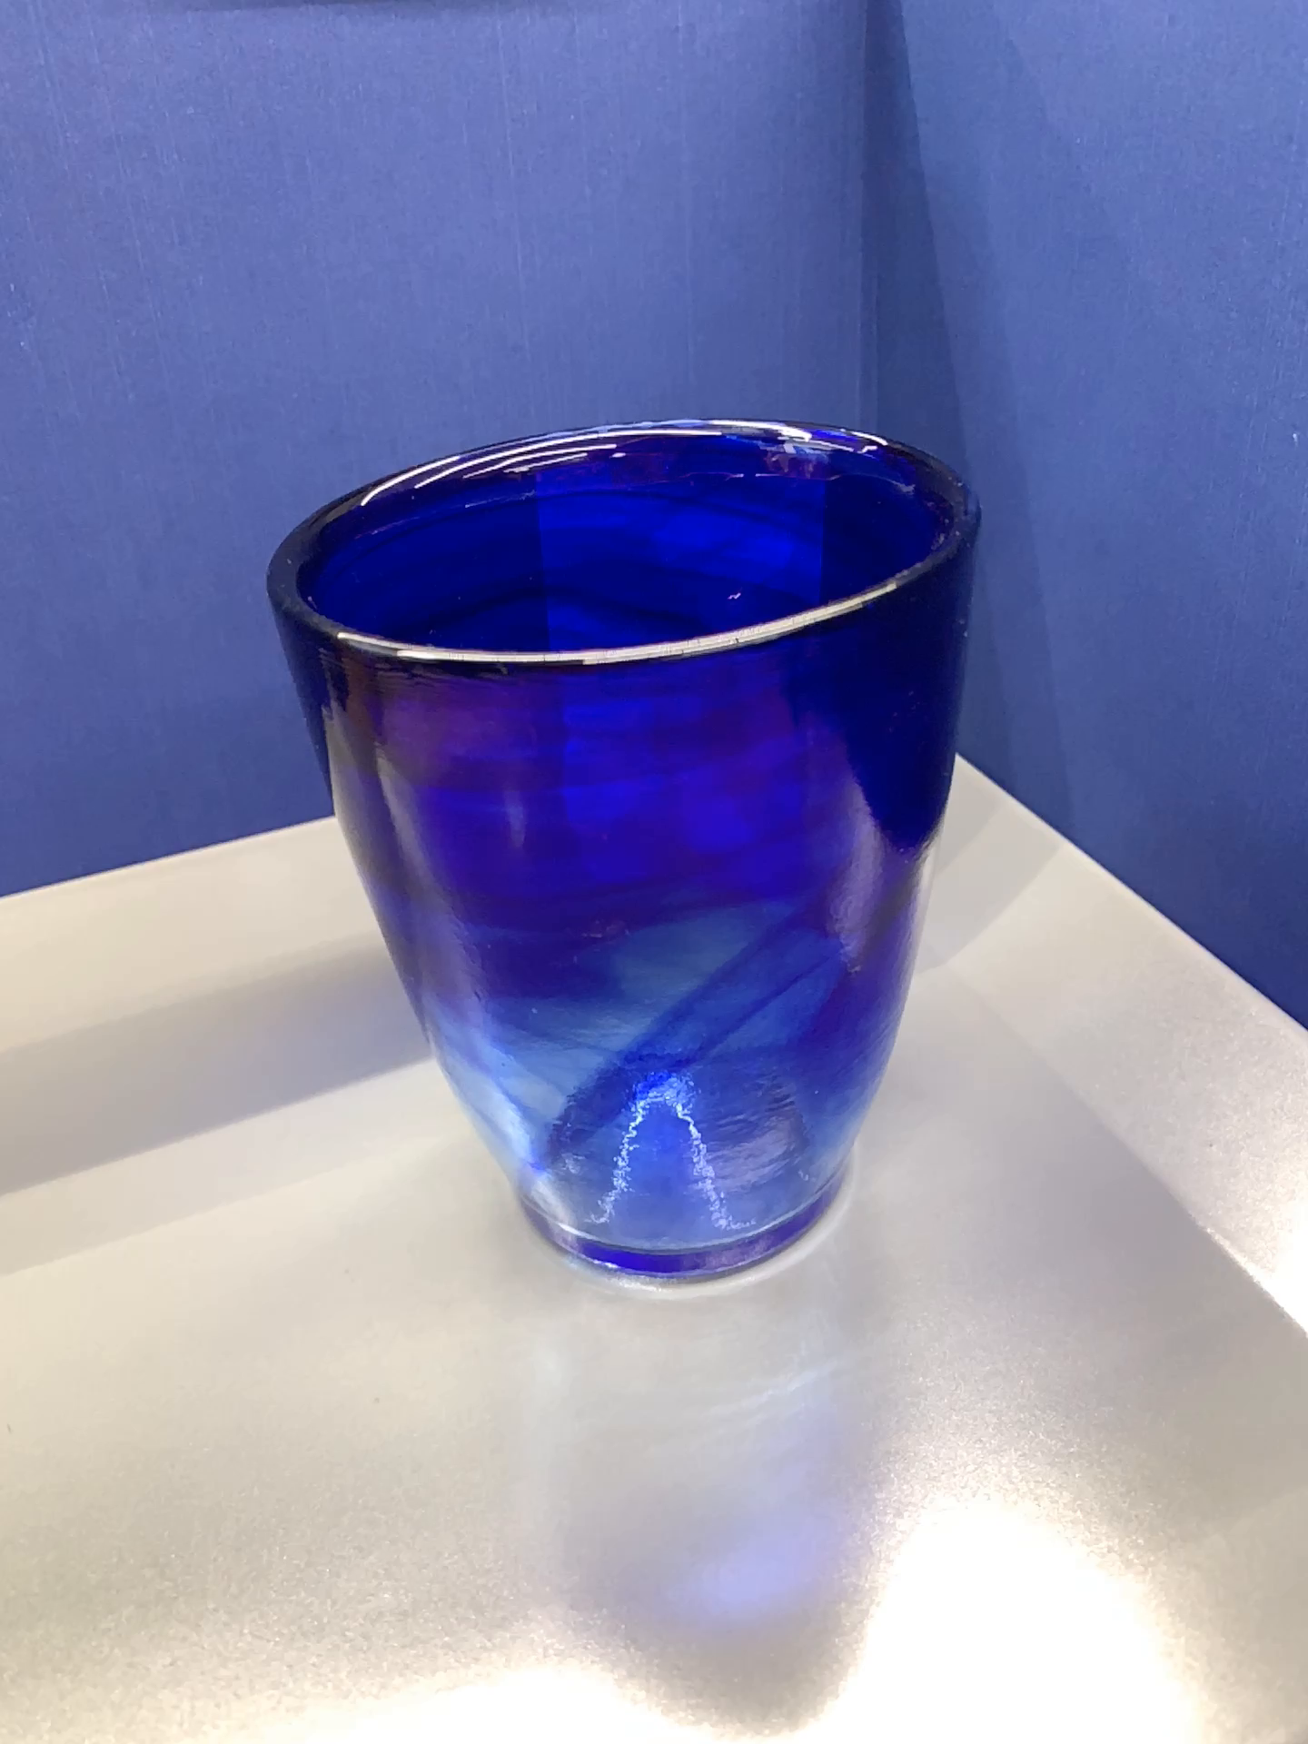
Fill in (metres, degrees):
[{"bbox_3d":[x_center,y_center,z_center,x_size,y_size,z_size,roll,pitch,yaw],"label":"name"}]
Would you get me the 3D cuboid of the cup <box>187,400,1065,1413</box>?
[{"bbox_3d":[0.005,-0.002,0.202,0.087,0.111,0.082,-3,31,2],"label":"cup"}]
